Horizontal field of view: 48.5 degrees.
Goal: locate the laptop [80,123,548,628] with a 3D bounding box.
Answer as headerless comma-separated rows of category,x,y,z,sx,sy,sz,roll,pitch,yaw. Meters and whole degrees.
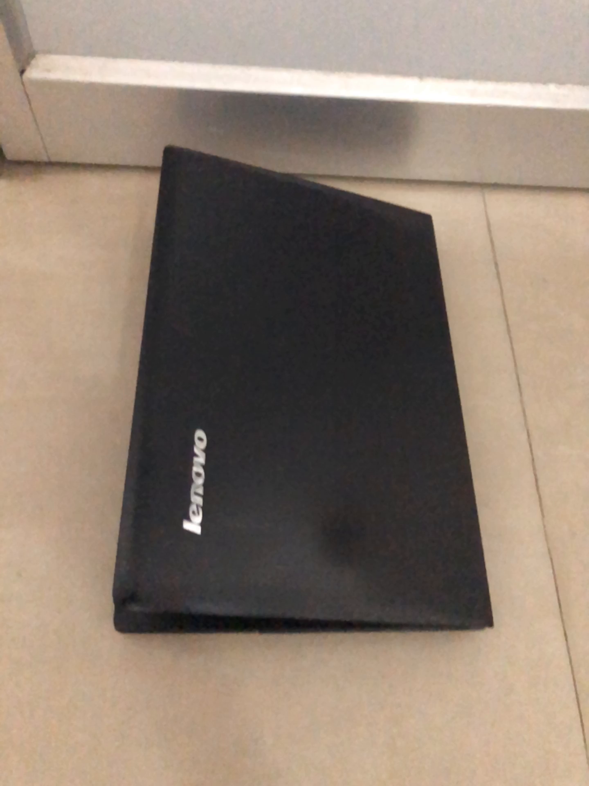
laptop,0.009,-0.032,0.487,0.257,0.097,0.368,0,62,-5
